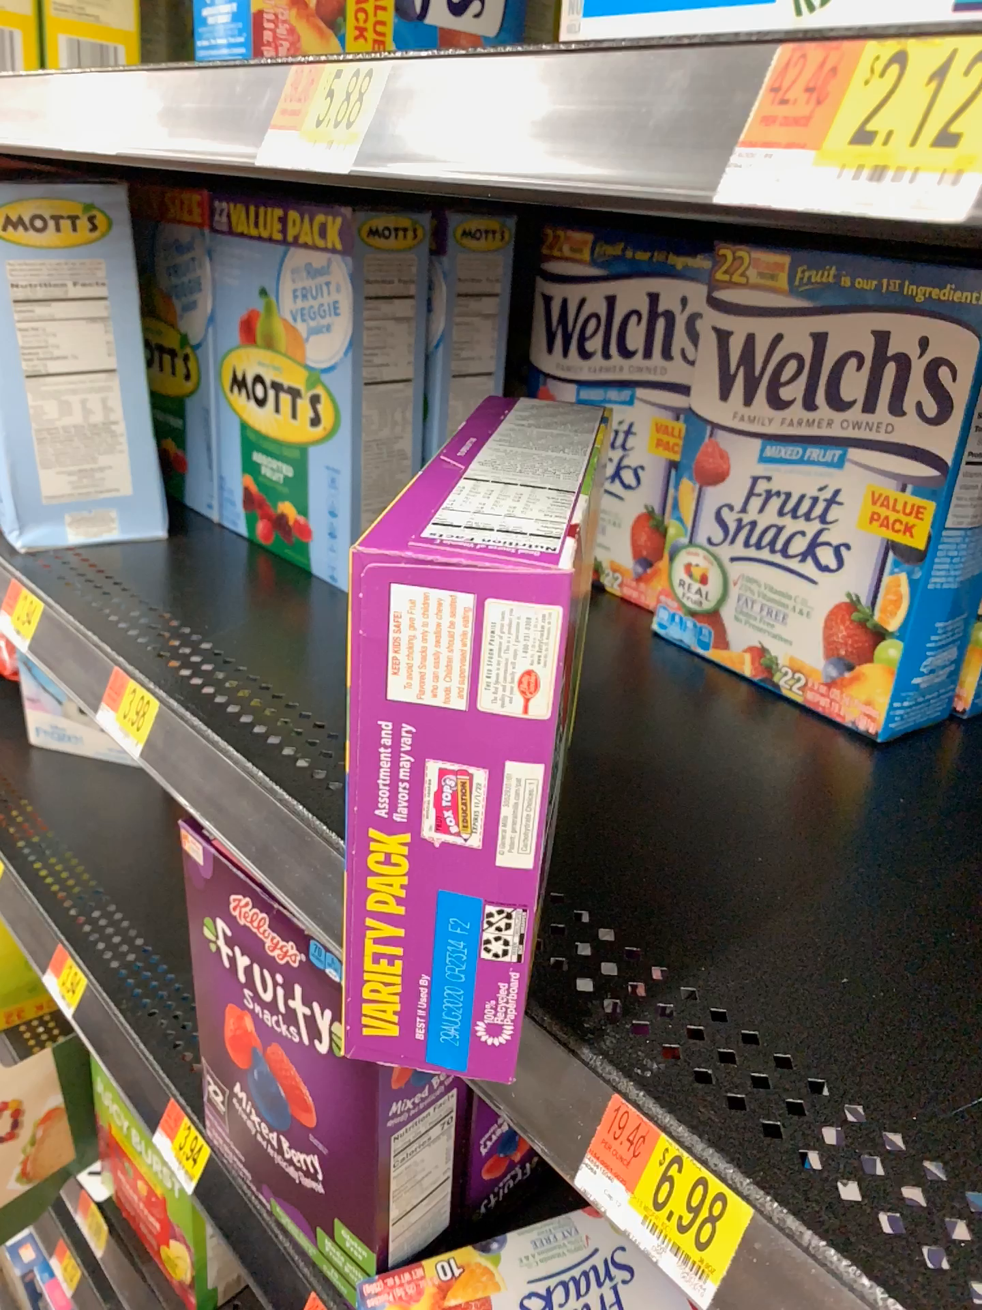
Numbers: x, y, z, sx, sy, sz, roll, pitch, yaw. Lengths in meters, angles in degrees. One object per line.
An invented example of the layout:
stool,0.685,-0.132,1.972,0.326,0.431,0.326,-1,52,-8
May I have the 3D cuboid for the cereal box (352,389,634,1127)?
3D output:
cereal box,0.009,0.013,0.366,0.060,0.169,0.221,7,26,6
